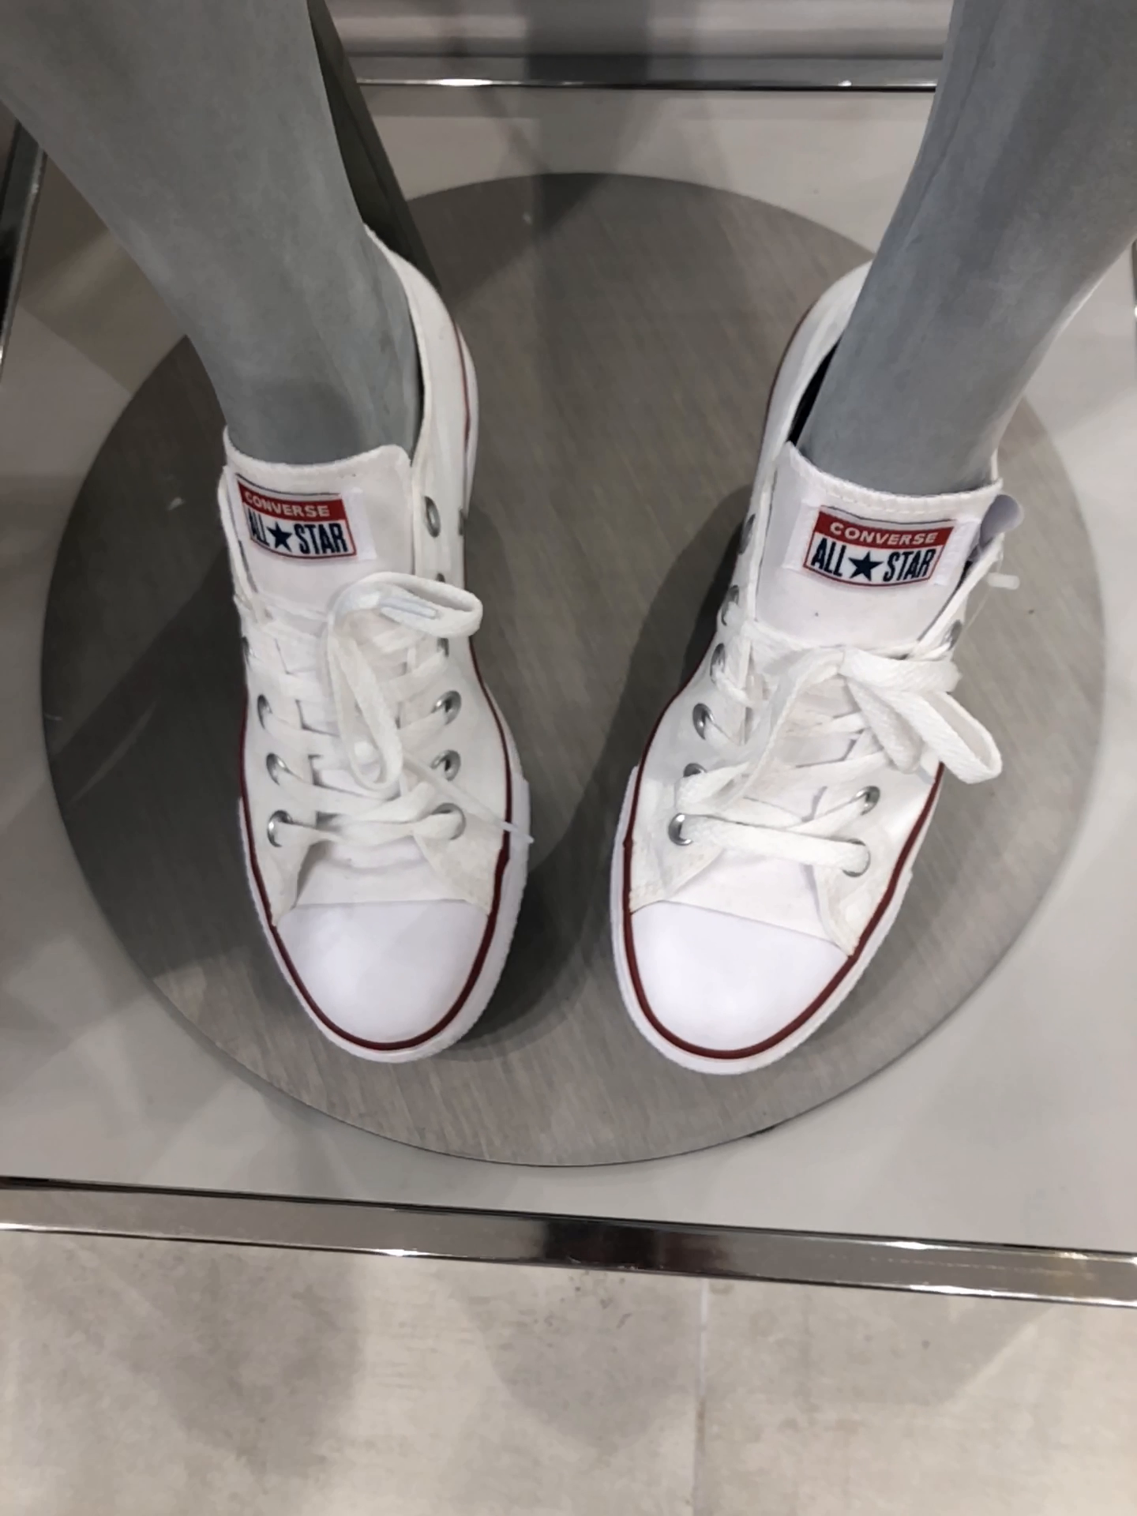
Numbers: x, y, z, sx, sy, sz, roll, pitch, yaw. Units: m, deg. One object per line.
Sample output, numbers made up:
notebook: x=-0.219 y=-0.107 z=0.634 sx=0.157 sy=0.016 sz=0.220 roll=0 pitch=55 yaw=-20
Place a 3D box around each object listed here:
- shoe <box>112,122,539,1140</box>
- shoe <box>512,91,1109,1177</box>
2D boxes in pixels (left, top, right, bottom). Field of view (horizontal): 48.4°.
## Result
shoe: x=-0.068 y=-0.034 z=0.385 sx=0.100 sy=0.090 sz=0.270 roll=-3 pitch=88 yaw=3
shoe: x=0.070 y=-0.036 z=0.387 sx=0.110 sy=0.090 sz=0.280 roll=11 pitch=89 yaw=7
